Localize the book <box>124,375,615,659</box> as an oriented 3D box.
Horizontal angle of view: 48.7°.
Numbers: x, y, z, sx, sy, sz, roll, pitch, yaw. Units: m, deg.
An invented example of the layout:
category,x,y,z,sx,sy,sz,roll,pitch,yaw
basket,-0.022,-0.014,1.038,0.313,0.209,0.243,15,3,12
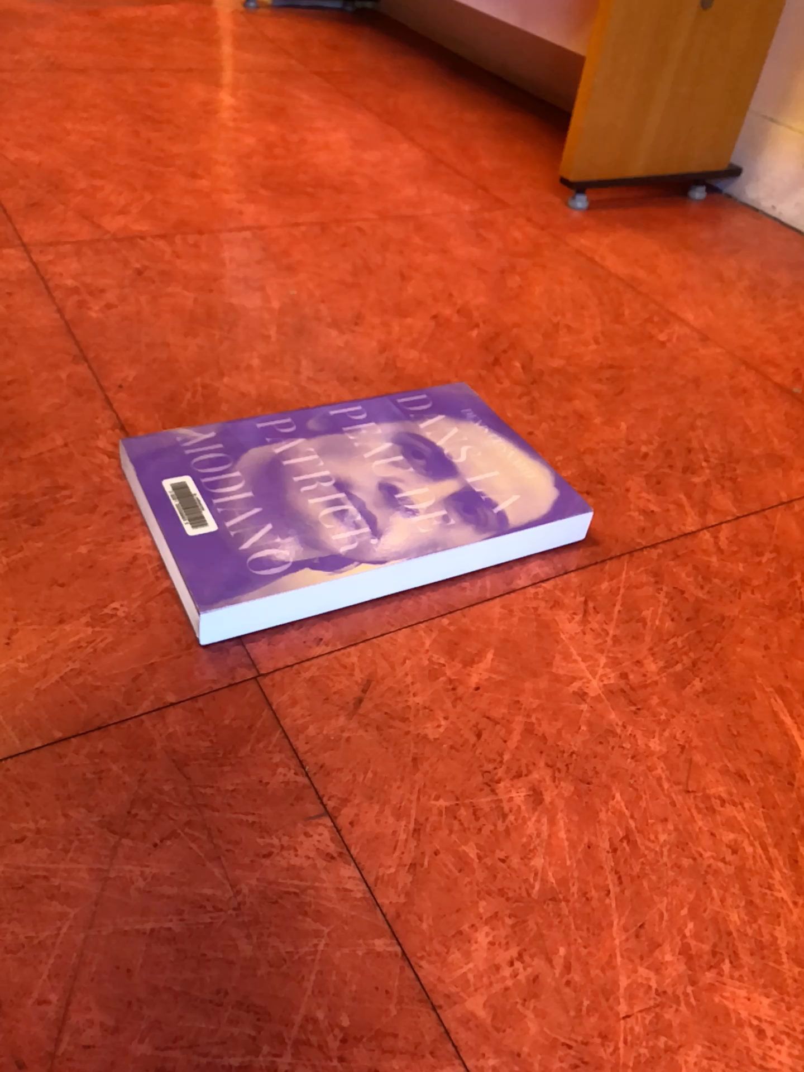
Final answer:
category,x,y,z,sx,sy,sz,roll,pitch,yaw
book,-0.020,-0.025,0.503,0.233,0.030,0.150,-13,45,-25
